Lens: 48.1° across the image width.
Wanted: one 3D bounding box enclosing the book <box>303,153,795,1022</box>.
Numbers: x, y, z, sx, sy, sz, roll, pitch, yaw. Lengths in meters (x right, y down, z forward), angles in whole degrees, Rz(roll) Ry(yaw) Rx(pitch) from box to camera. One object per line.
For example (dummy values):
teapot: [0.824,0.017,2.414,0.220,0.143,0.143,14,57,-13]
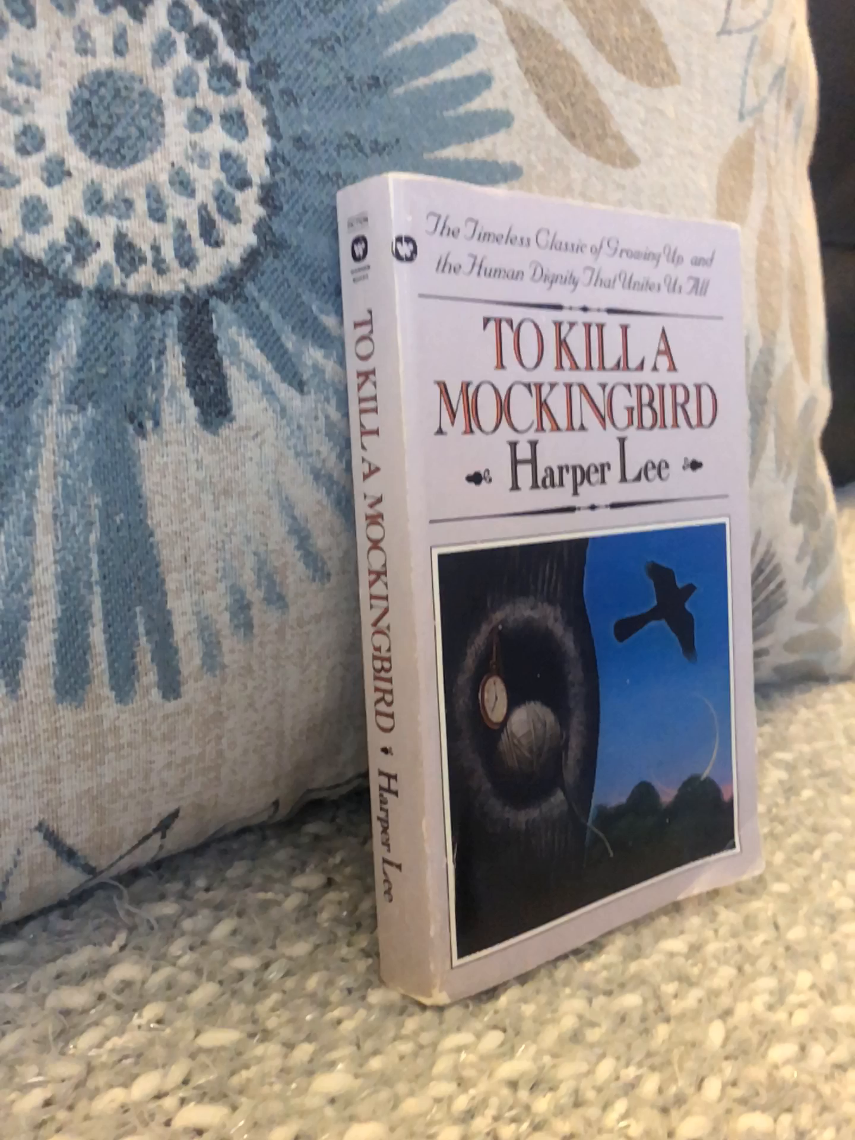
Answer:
book: [0.034,0.000,0.226,0.113,0.166,0.033,-6,5,-33]
